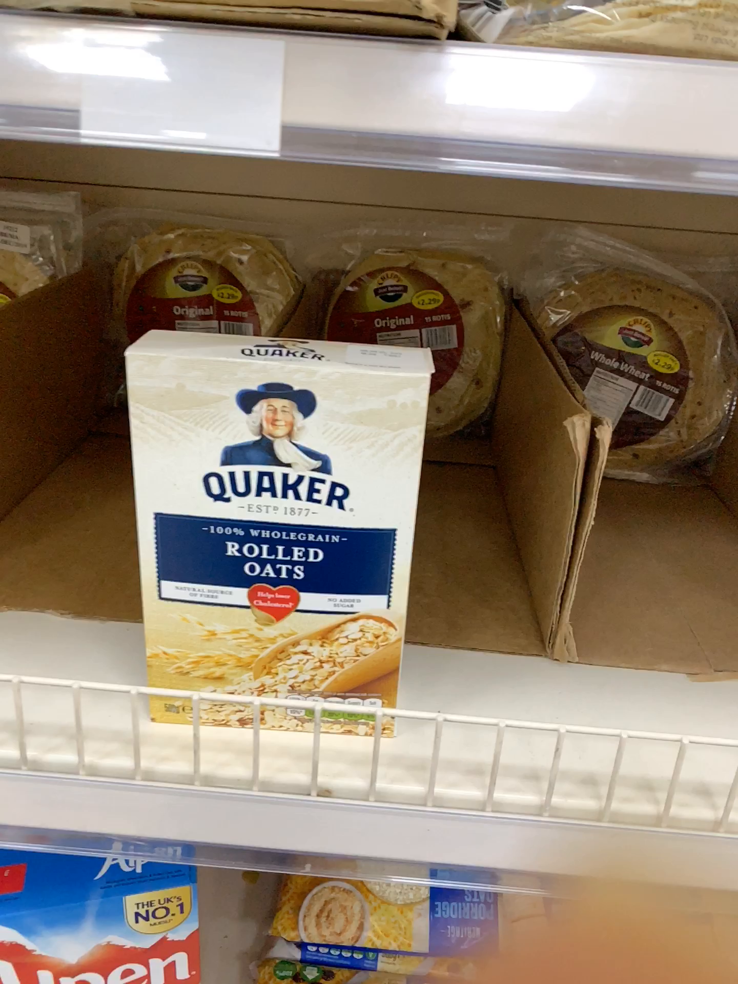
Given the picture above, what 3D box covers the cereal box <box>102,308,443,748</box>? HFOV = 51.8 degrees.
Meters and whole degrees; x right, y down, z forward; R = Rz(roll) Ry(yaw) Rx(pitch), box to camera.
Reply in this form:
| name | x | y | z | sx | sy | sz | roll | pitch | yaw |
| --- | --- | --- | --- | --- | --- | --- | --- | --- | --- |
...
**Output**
| name | x | y | z | sx | sy | sz | roll | pitch | yaw |
| --- | --- | --- | --- | --- | --- | --- | --- | --- | --- |
| cereal box | -0.048 | 0.024 | 0.404 | 0.150 | 0.218 | 0.061 | 4 | 24 | 1 |
